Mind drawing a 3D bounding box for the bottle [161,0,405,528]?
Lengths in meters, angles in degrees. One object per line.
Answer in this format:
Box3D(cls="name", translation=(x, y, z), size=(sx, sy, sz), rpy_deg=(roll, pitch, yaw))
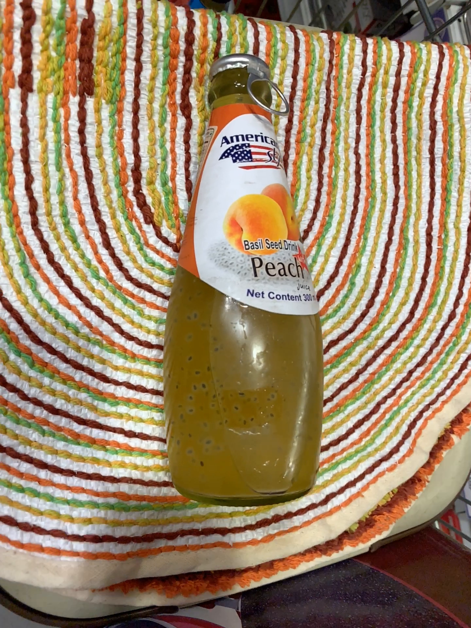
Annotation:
Box3D(cls="bottle", translation=(0.016, -0.024, 0.213), size=(0.070, 0.060, 0.200), rpy_deg=(7, 75, -40))
